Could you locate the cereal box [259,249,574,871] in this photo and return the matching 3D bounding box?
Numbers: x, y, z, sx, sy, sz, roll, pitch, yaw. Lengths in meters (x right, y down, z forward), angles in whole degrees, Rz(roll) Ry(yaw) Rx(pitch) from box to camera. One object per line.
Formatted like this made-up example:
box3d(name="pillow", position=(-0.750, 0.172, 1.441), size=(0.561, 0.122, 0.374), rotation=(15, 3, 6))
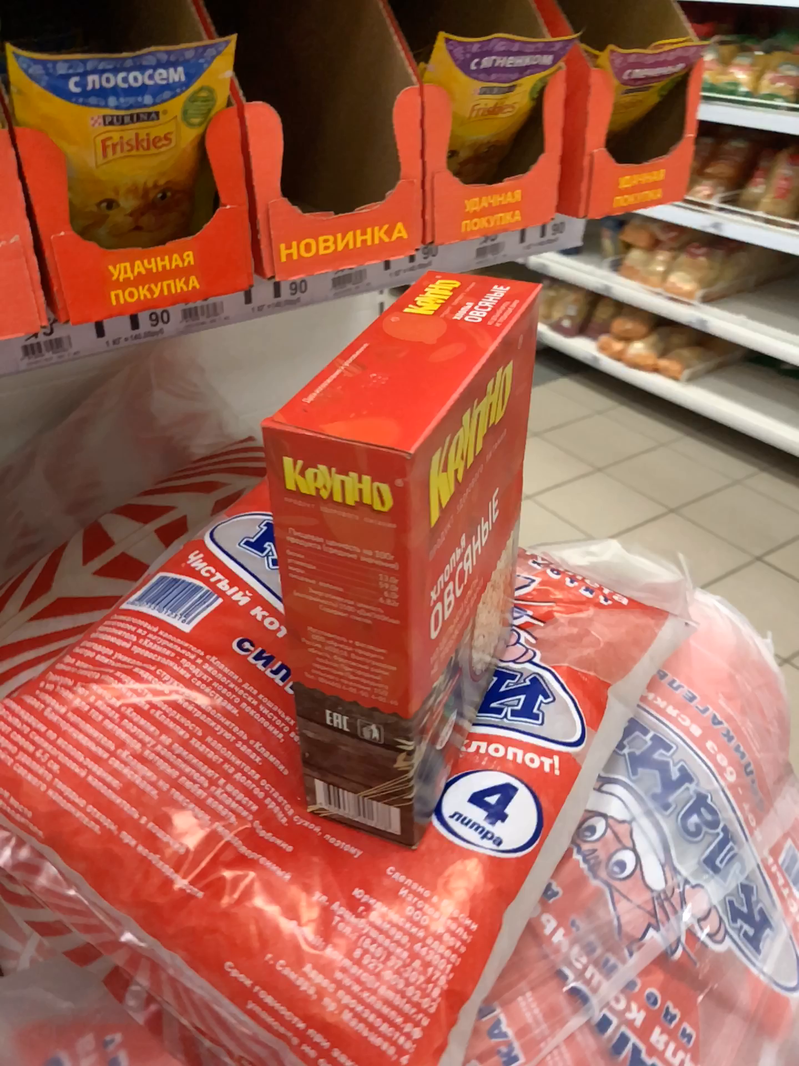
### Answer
box3d(name="cereal box", position=(0.014, 0.008, 0.364), size=(0.060, 0.199, 0.151), rotation=(13, 37, 18))
